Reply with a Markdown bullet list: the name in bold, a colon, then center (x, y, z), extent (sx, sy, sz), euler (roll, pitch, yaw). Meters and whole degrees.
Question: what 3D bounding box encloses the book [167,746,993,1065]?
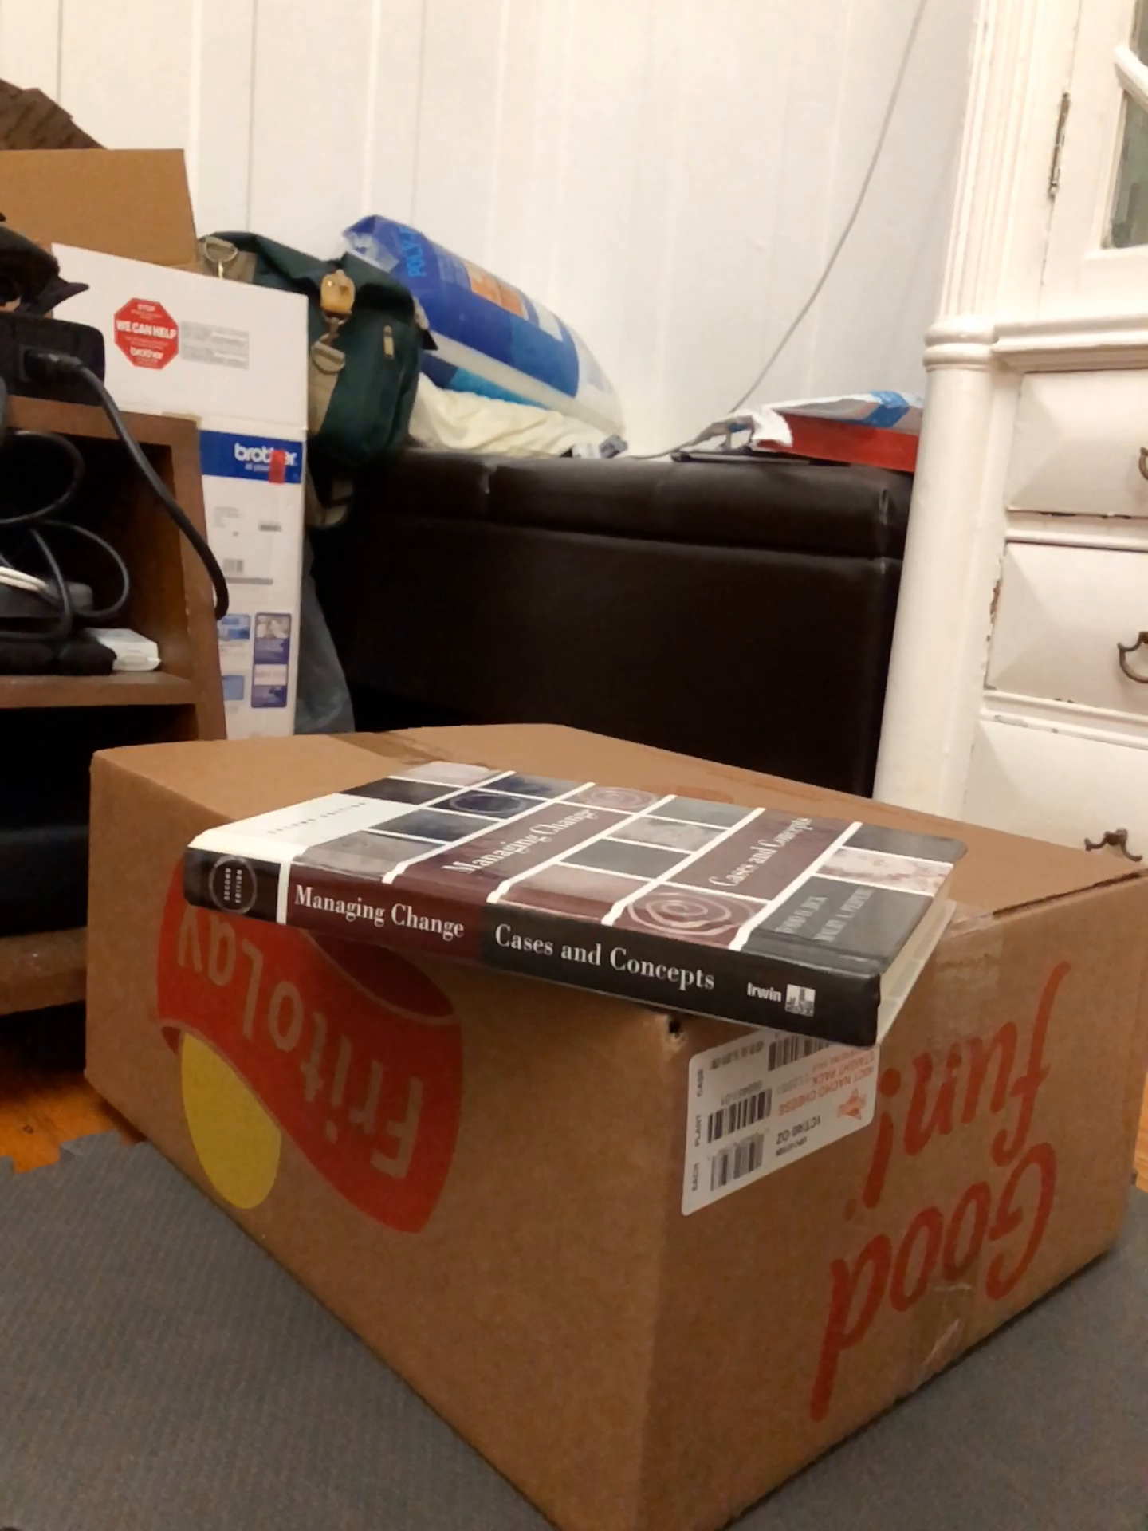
- **book**: center (0.013, 0.035, 0.463), extent (0.250, 0.030, 0.180), euler (9, 11, 22)
